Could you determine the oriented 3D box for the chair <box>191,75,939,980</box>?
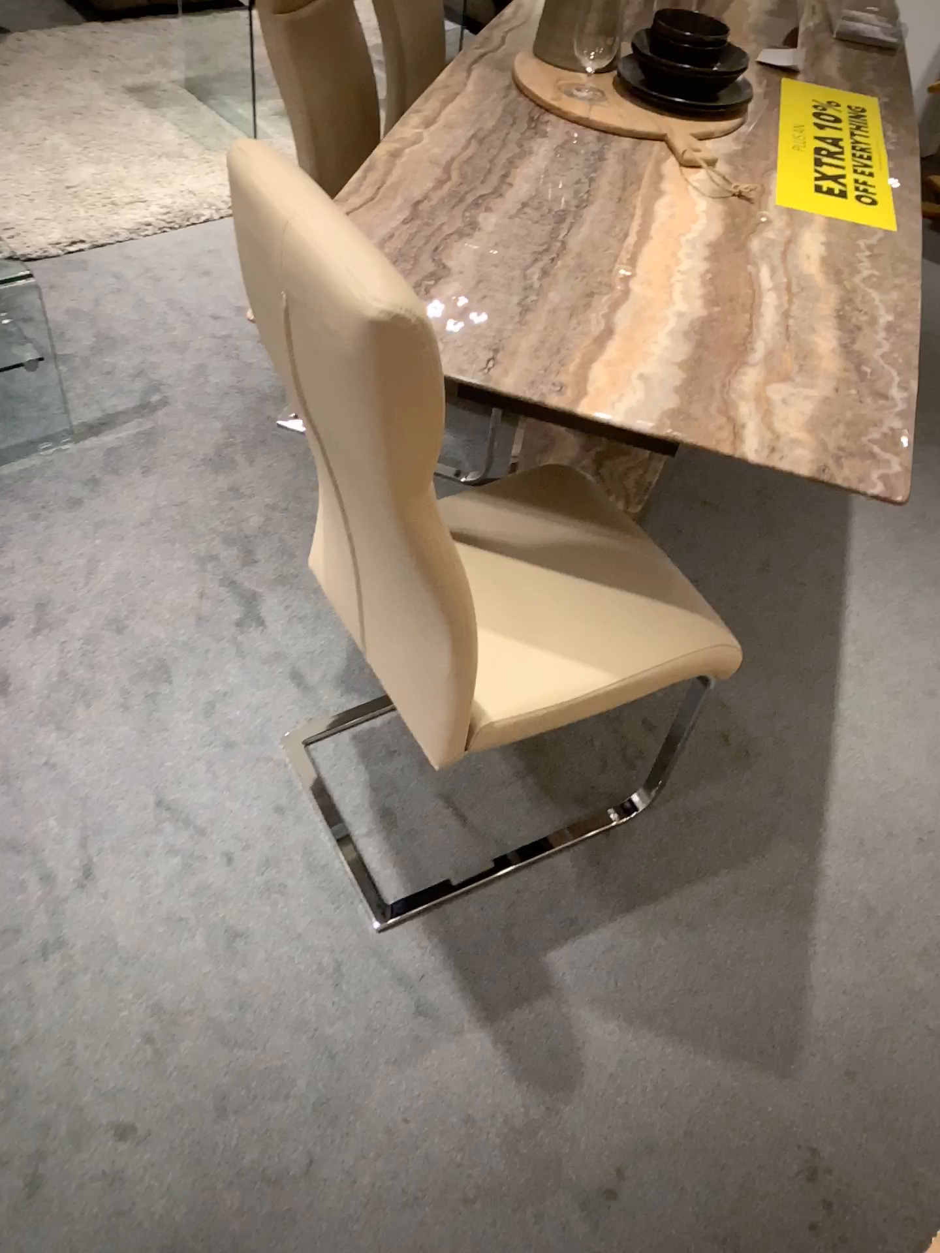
[{"bbox_3d":[0.040,-0.076,1.232,0.570,0.975,0.477,-18,53,-24],"label":"chair"}]
